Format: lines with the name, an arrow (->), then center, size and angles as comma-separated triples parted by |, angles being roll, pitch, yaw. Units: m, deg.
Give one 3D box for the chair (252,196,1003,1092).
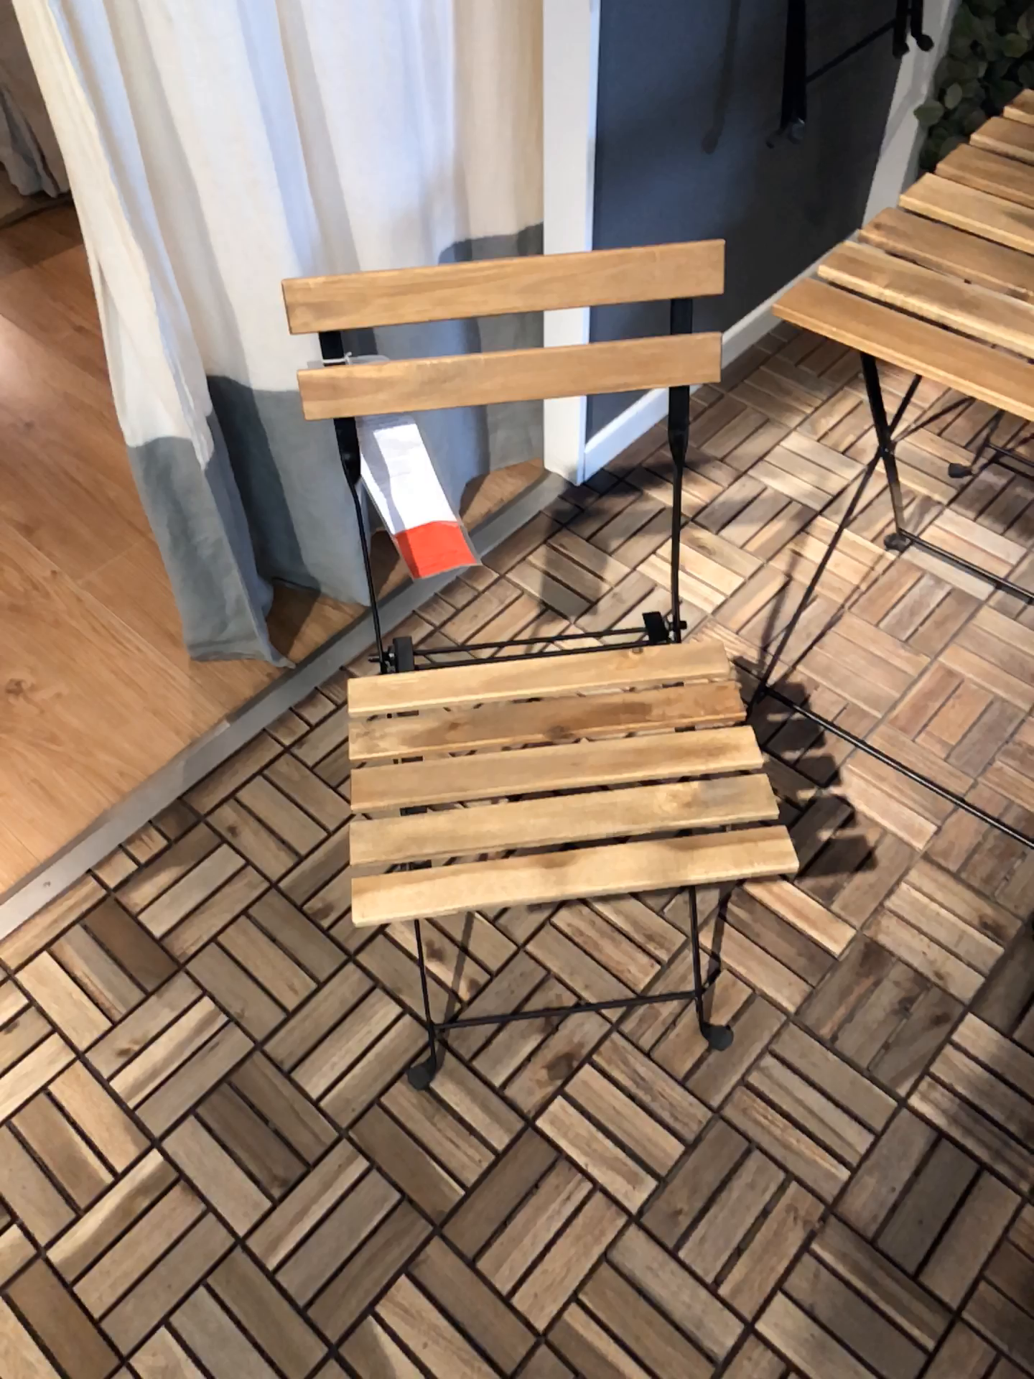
chair -> 0.048, 0.015, 1.059 | 0.430, 0.726, 0.432 | -6, 53, -3
